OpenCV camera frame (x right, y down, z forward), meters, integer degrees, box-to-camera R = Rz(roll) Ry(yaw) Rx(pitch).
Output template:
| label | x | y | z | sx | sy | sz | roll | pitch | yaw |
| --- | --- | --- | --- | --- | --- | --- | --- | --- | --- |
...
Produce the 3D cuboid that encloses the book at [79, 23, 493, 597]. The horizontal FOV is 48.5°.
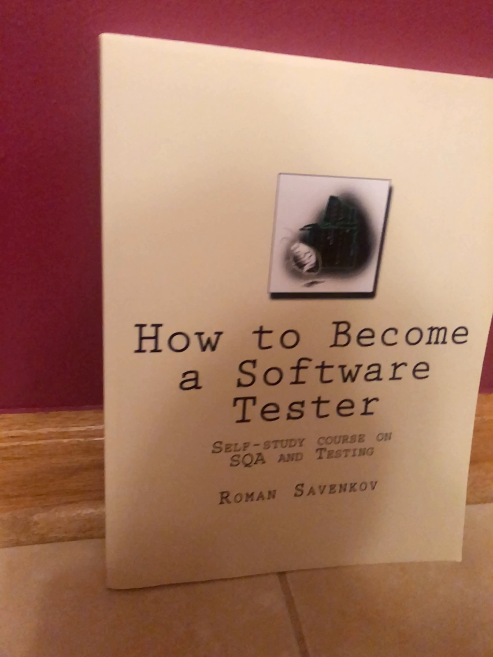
| label | x | y | z | sx | sy | sz | roll | pitch | yaw |
| --- | --- | --- | --- | --- | --- | --- | --- | --- | --- |
| book | 0.033 | 0.005 | 0.292 | 0.220 | 0.274 | 0.045 | -1 | 19 | -11 |
